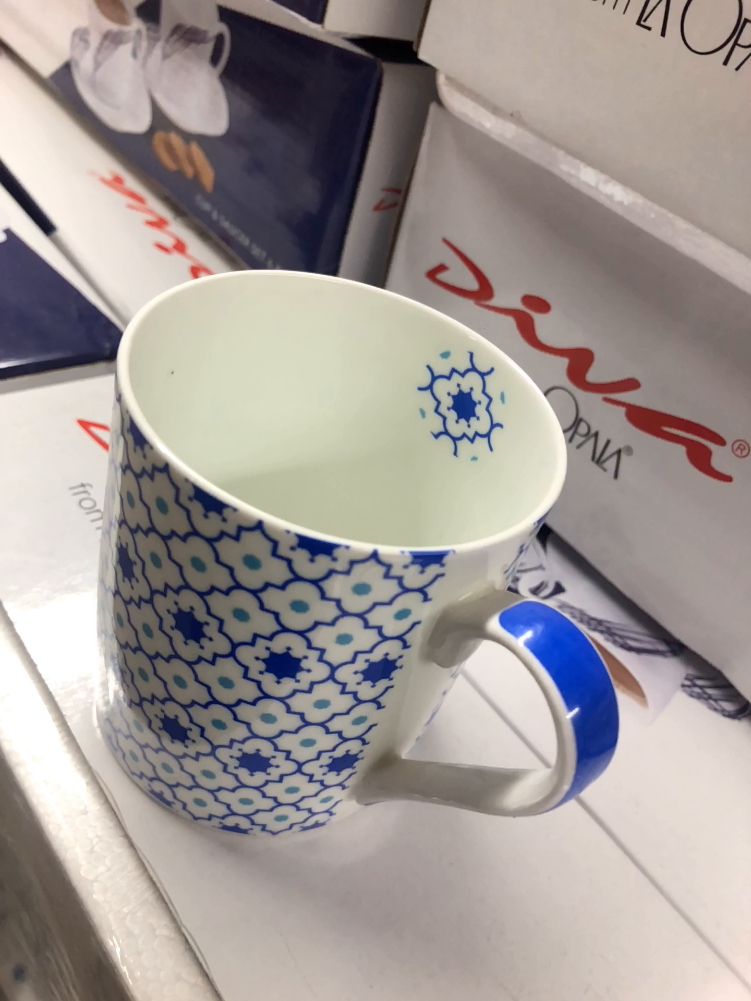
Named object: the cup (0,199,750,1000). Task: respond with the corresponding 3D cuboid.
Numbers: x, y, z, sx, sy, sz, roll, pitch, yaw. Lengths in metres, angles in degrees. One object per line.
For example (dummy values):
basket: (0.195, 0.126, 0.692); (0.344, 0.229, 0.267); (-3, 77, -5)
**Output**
cup: (-0.013, 0.015, 0.138); (0.070, 0.079, 0.100); (-23, 55, -37)
